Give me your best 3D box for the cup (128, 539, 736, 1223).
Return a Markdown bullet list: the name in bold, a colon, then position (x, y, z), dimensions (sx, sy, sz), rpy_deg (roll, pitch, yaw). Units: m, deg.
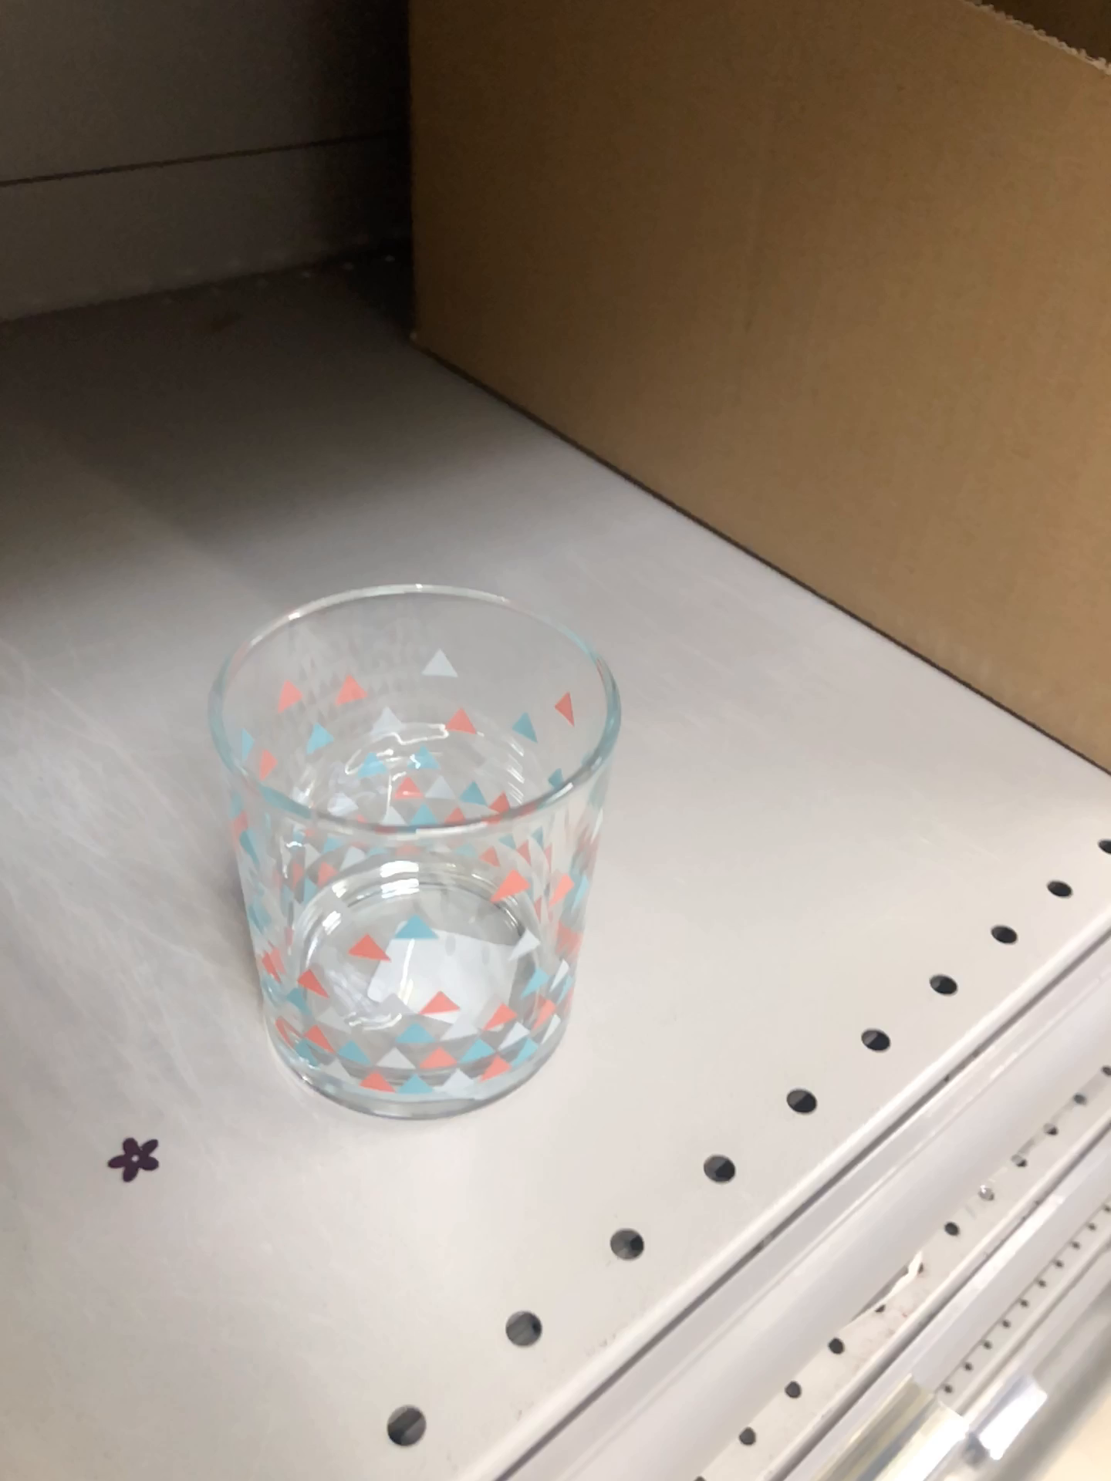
- **cup**: position (-0.025, 0.023, 0.242), dimensions (0.077, 0.081, 0.076), rpy_deg (3, 39, -2)
